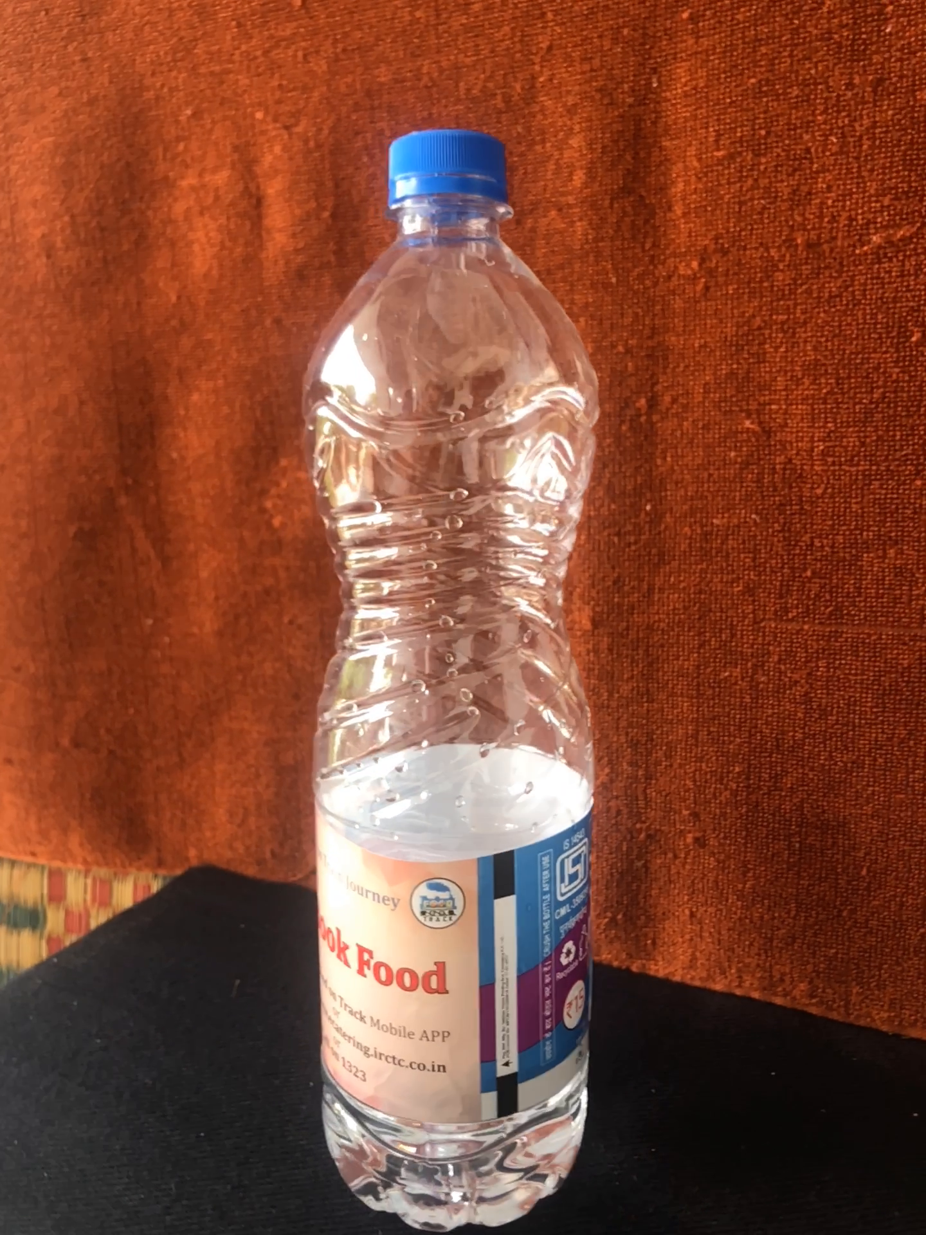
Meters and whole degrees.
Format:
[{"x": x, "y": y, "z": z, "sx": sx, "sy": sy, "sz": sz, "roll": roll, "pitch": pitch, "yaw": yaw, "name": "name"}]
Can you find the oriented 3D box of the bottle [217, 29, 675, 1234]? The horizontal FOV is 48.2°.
[{"x": -0.008, "y": 0.018, "z": 0.271, "sx": 0.070, "sy": 0.279, "sz": 0.090, "roll": -8, "pitch": 15, "yaw": -31, "name": "bottle"}]
